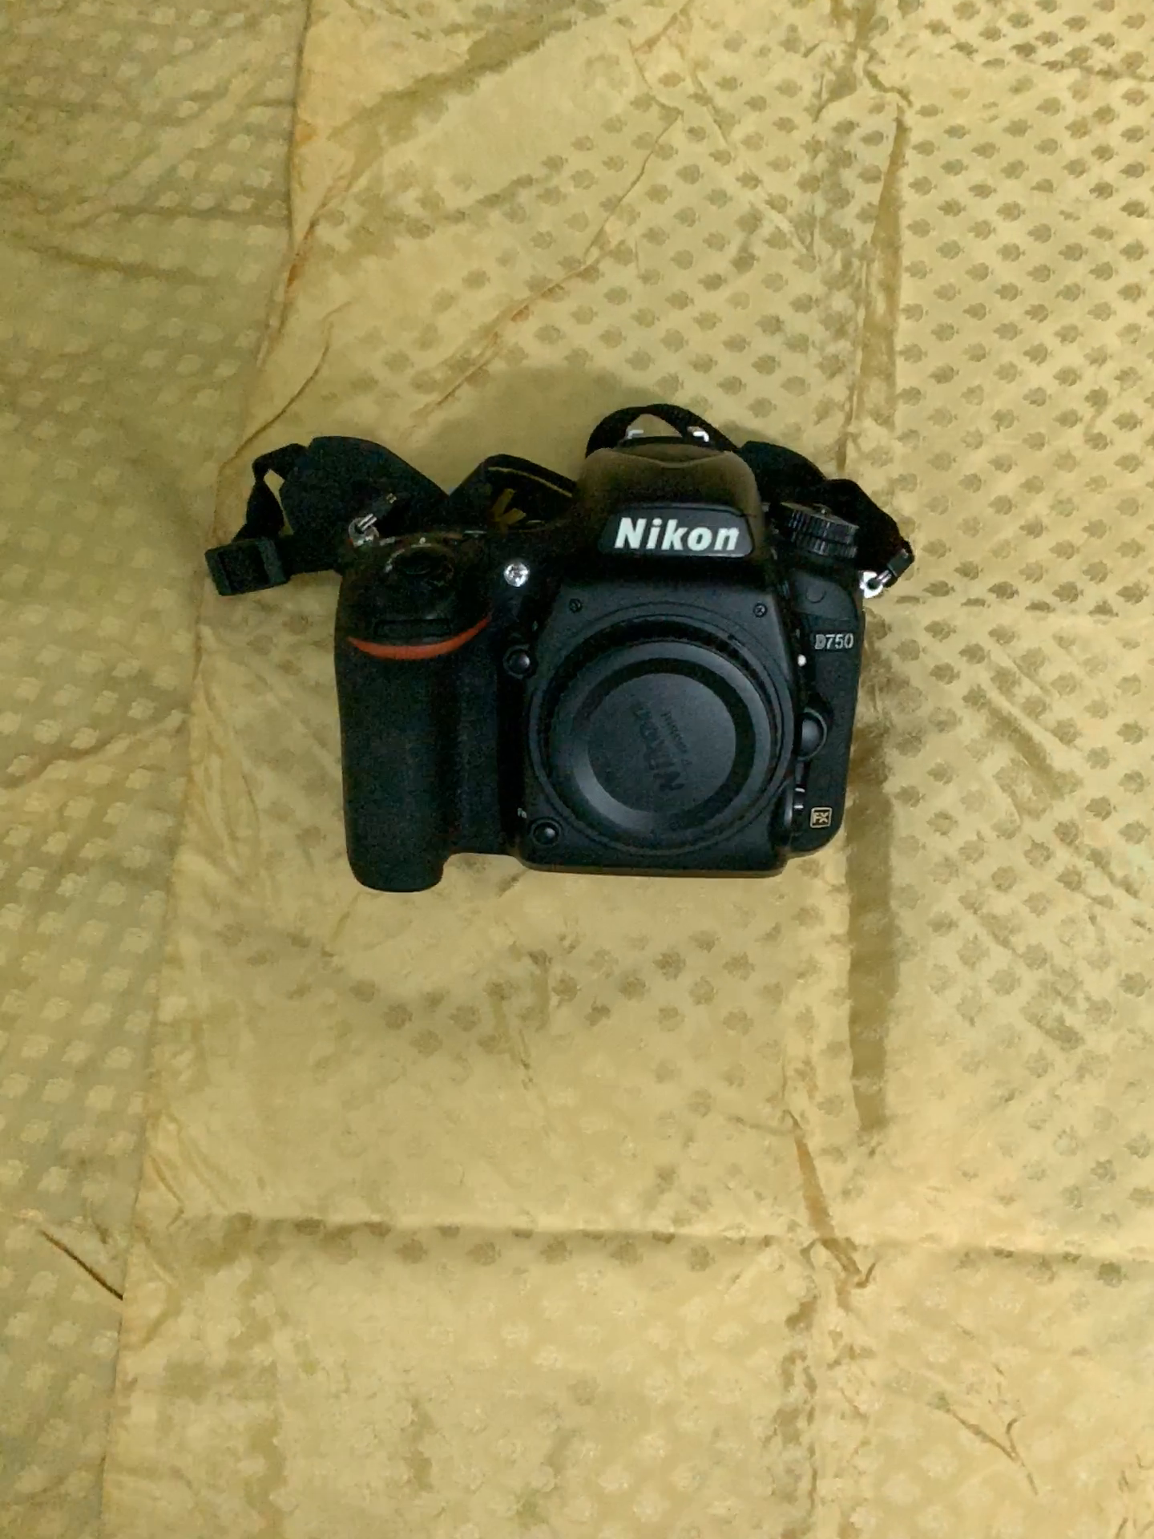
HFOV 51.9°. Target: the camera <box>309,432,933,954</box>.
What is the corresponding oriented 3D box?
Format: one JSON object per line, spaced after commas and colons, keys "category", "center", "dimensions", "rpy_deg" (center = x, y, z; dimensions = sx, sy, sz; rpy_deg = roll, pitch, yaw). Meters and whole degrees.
{"category": "camera", "center": [0.008, -0.023, 0.301], "dimensions": [0.130, 0.073, 0.111], "rpy_deg": [2, 111, 0]}
